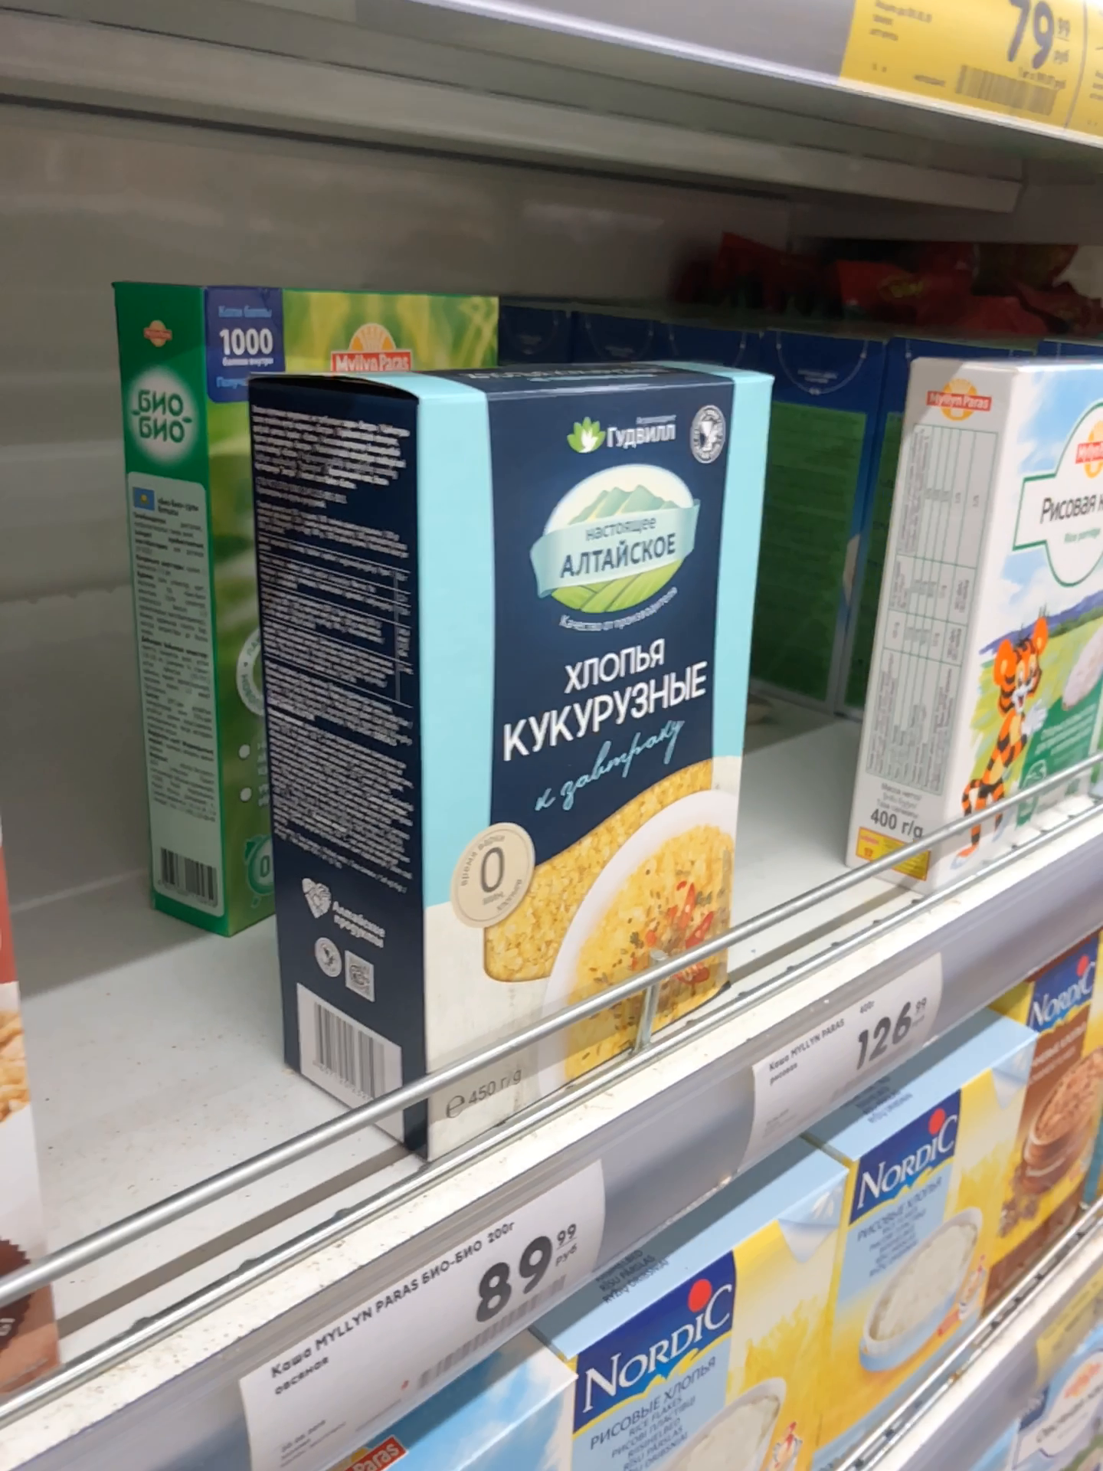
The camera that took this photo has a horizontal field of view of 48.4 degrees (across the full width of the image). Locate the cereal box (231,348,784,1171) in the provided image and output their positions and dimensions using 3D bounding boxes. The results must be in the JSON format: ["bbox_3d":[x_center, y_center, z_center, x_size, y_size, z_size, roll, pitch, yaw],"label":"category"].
[{"bbox_3d":[-0.009,-0.004,0.334,0.060,0.189,0.130,21,27,41],"label":"cereal box"}]
